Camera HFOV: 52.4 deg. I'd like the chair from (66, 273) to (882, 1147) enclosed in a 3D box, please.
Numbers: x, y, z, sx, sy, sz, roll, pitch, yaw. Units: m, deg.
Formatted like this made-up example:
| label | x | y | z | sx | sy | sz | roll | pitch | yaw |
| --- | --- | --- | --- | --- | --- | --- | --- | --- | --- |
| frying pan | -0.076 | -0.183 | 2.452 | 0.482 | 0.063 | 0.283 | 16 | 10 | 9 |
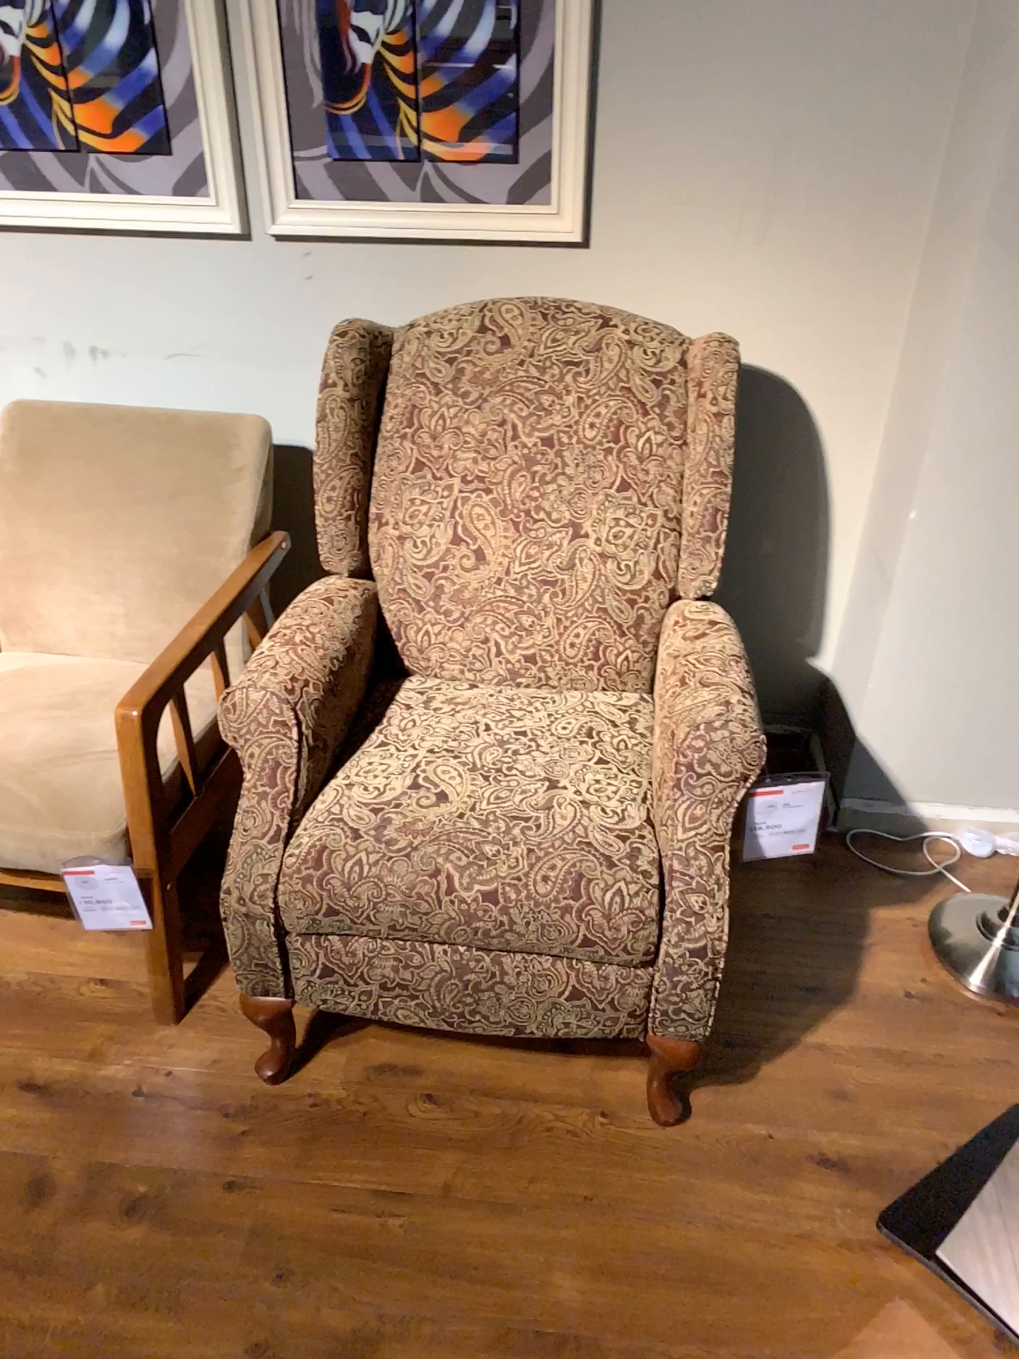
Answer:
| label | x | y | z | sx | sy | sz | roll | pitch | yaw |
| --- | --- | --- | --- | --- | --- | --- | --- | --- | --- |
| chair | -0.012 | 0.004 | 1.518 | 0.750 | 0.956 | 0.763 | 5 | 32 | 5 |
